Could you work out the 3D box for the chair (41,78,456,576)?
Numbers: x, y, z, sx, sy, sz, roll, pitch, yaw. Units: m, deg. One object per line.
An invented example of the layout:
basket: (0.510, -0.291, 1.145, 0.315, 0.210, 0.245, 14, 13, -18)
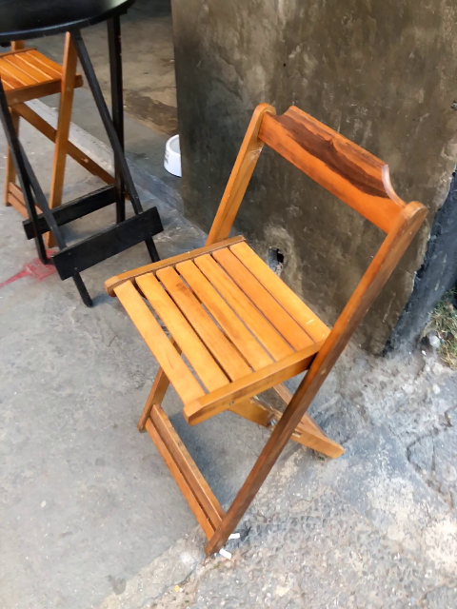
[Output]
chair: (0.022, 0.076, 1.077, 0.501, 0.854, 0.482, -23, 50, -23)
